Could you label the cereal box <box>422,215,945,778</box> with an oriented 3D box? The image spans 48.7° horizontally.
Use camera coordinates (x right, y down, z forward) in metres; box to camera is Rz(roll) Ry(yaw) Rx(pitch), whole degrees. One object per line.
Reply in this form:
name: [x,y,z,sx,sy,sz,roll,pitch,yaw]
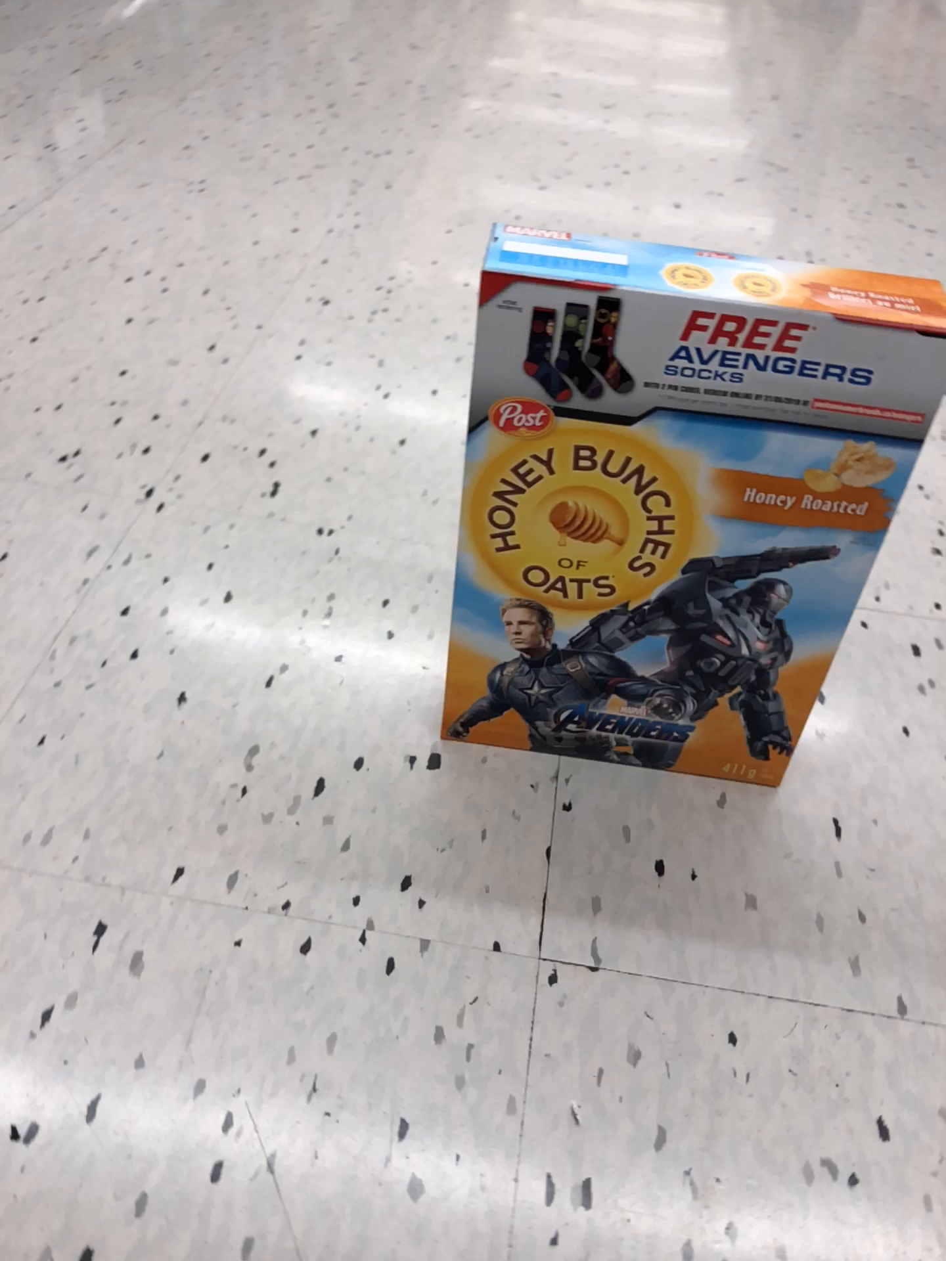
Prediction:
cereal box: [0.085,-0.049,0.508,0.200,0.258,0.060,7,41,1]
